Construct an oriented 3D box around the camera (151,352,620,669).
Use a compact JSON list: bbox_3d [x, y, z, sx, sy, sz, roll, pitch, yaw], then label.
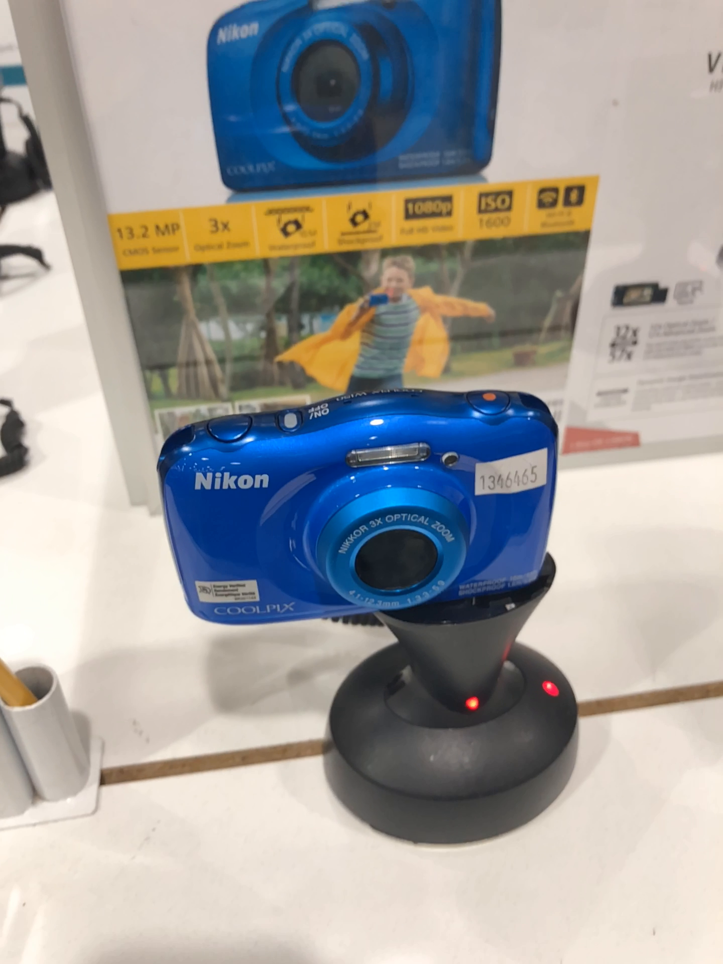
[{"bbox_3d":[0.004,0.007,0.221,0.110,0.060,0.040,-7,38,-8],"label":"camera"}]
